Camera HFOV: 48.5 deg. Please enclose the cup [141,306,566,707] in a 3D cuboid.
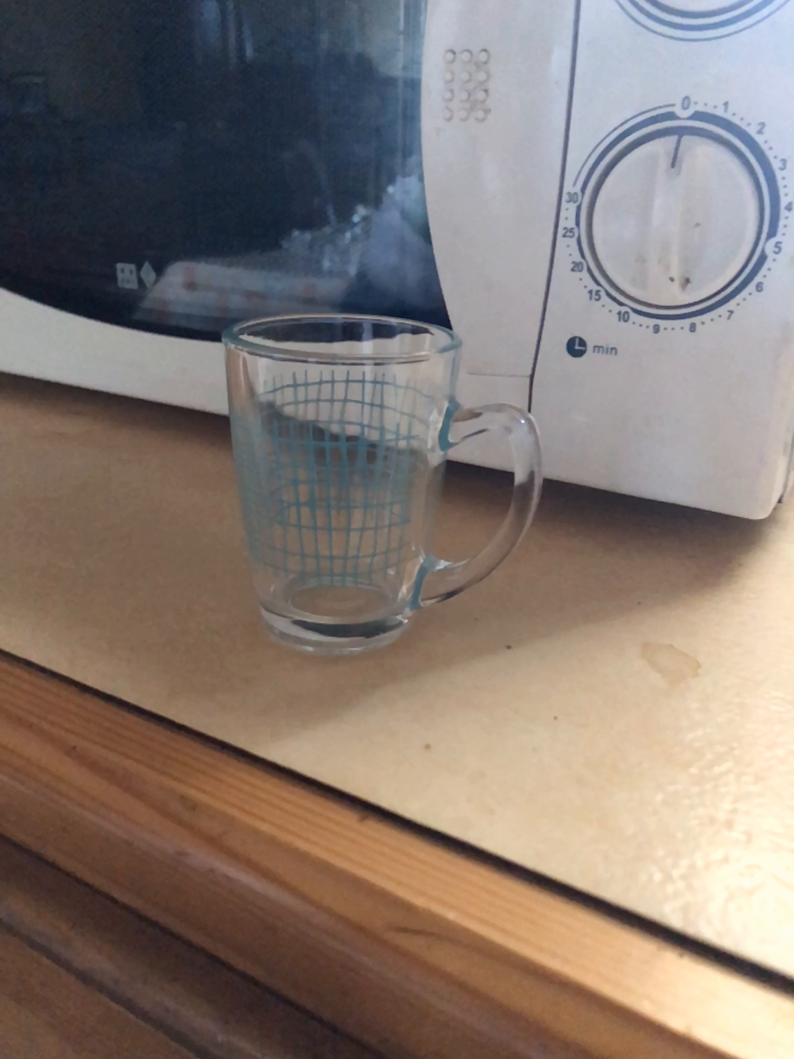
[{"bbox_3d":[-0.009,-0.012,0.220,0.080,0.070,0.060,13,25,25],"label":"cup"}]
